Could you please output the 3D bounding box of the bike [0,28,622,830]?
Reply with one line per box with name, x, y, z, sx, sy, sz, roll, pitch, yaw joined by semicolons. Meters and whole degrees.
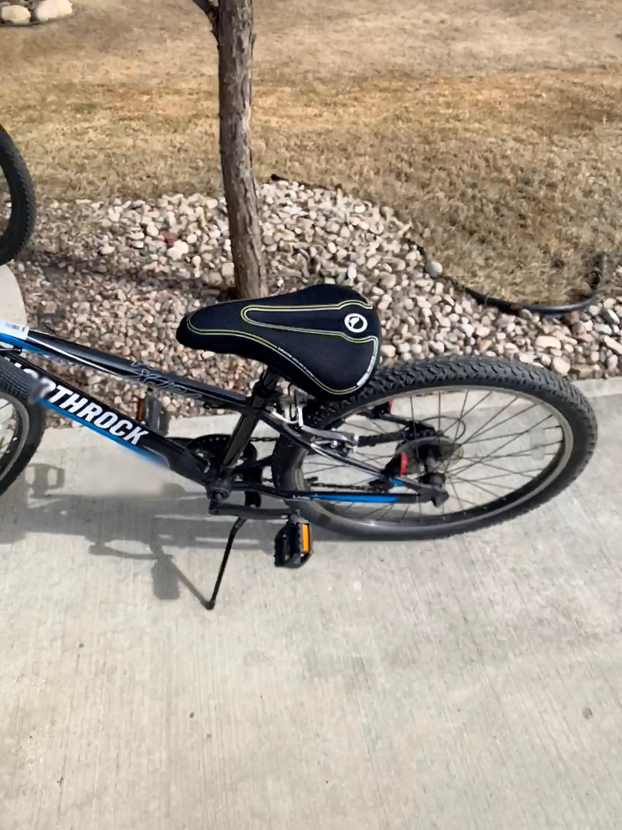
bike;-0.241;0.104;0.950;1.389;0.885;0.517;-9;42;-3
